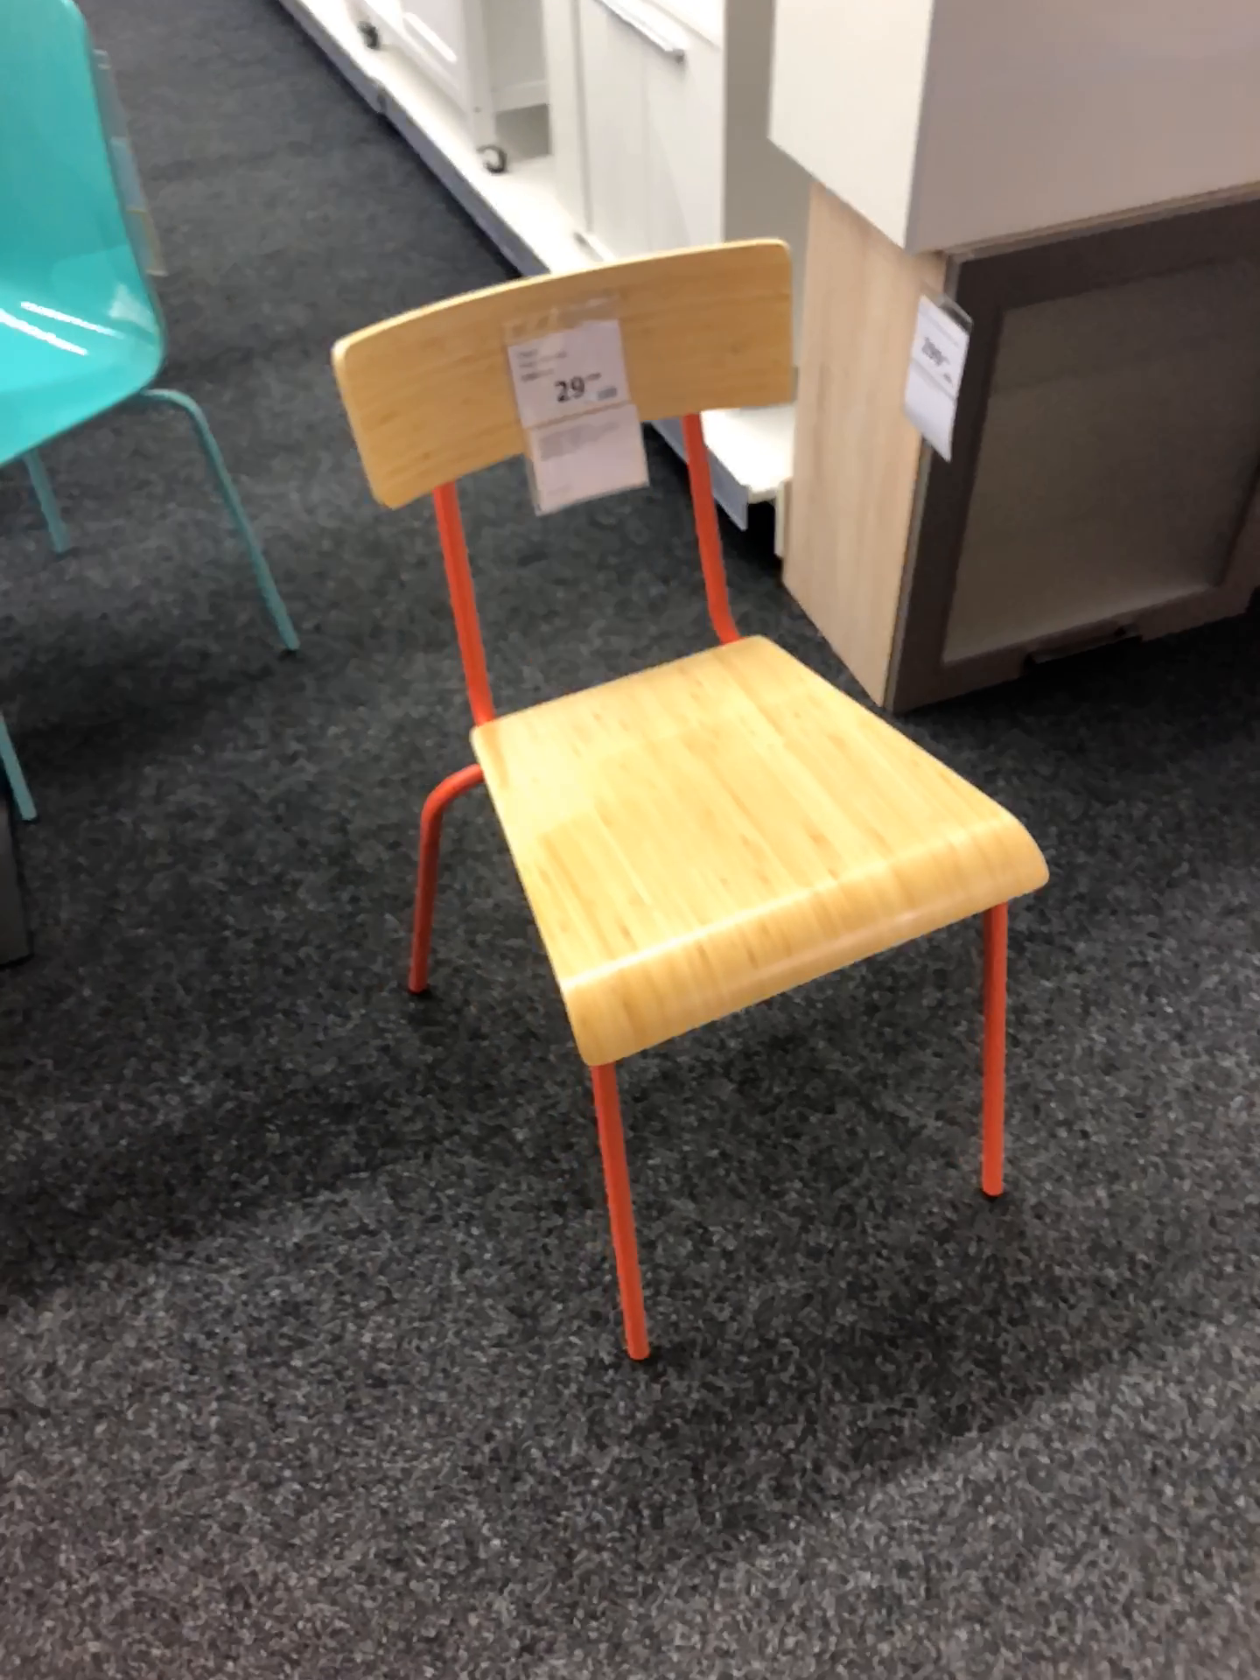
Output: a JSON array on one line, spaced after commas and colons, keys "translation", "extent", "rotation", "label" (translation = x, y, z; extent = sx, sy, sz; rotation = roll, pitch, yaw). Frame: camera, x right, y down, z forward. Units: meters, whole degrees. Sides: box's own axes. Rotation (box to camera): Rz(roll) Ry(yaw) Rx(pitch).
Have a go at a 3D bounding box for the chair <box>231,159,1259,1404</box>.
[{"translation": [0.059, -0.032, 1.216], "extent": [0.501, 0.816, 0.562], "rotation": [-19, 48, -16], "label": "chair"}]
